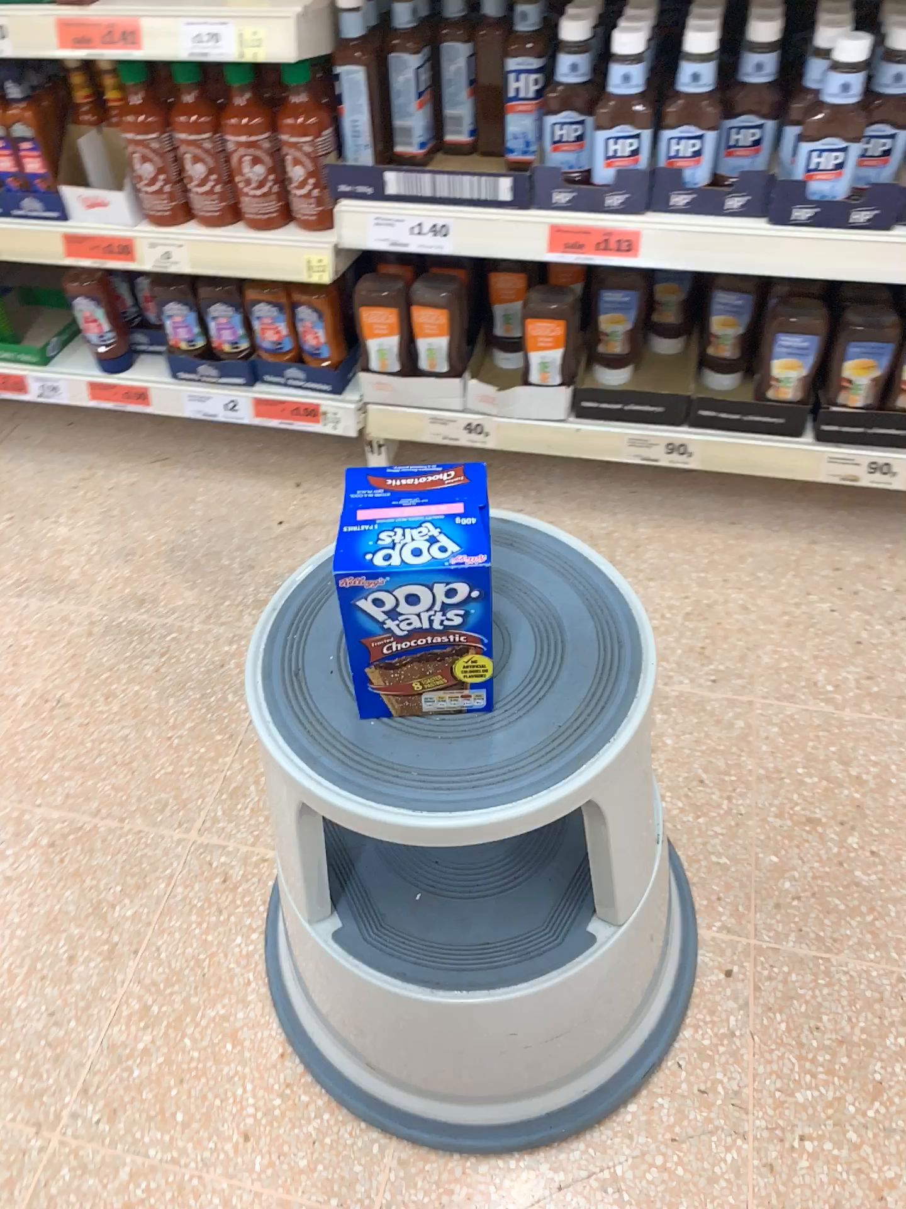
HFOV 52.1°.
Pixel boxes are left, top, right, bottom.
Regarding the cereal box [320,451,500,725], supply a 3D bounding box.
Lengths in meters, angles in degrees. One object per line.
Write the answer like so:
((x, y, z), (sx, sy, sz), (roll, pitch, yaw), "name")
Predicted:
((-0.023, -0.008, 0.611), (0.100, 0.139, 0.111), (-3, 48, 1), "cereal box")
